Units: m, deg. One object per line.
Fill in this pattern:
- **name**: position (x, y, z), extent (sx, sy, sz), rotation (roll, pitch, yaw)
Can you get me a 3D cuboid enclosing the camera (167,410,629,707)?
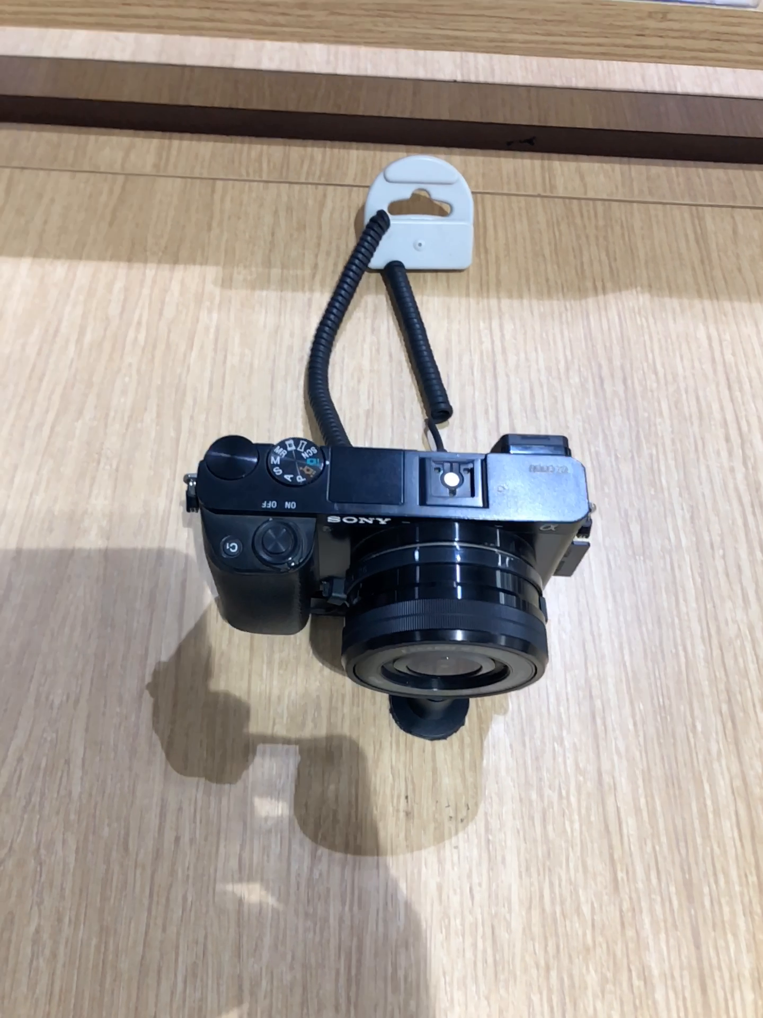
- **camera**: position (0.002, 0.017, 0.241), extent (0.107, 0.070, 0.059), rotation (1, 61, -3)
